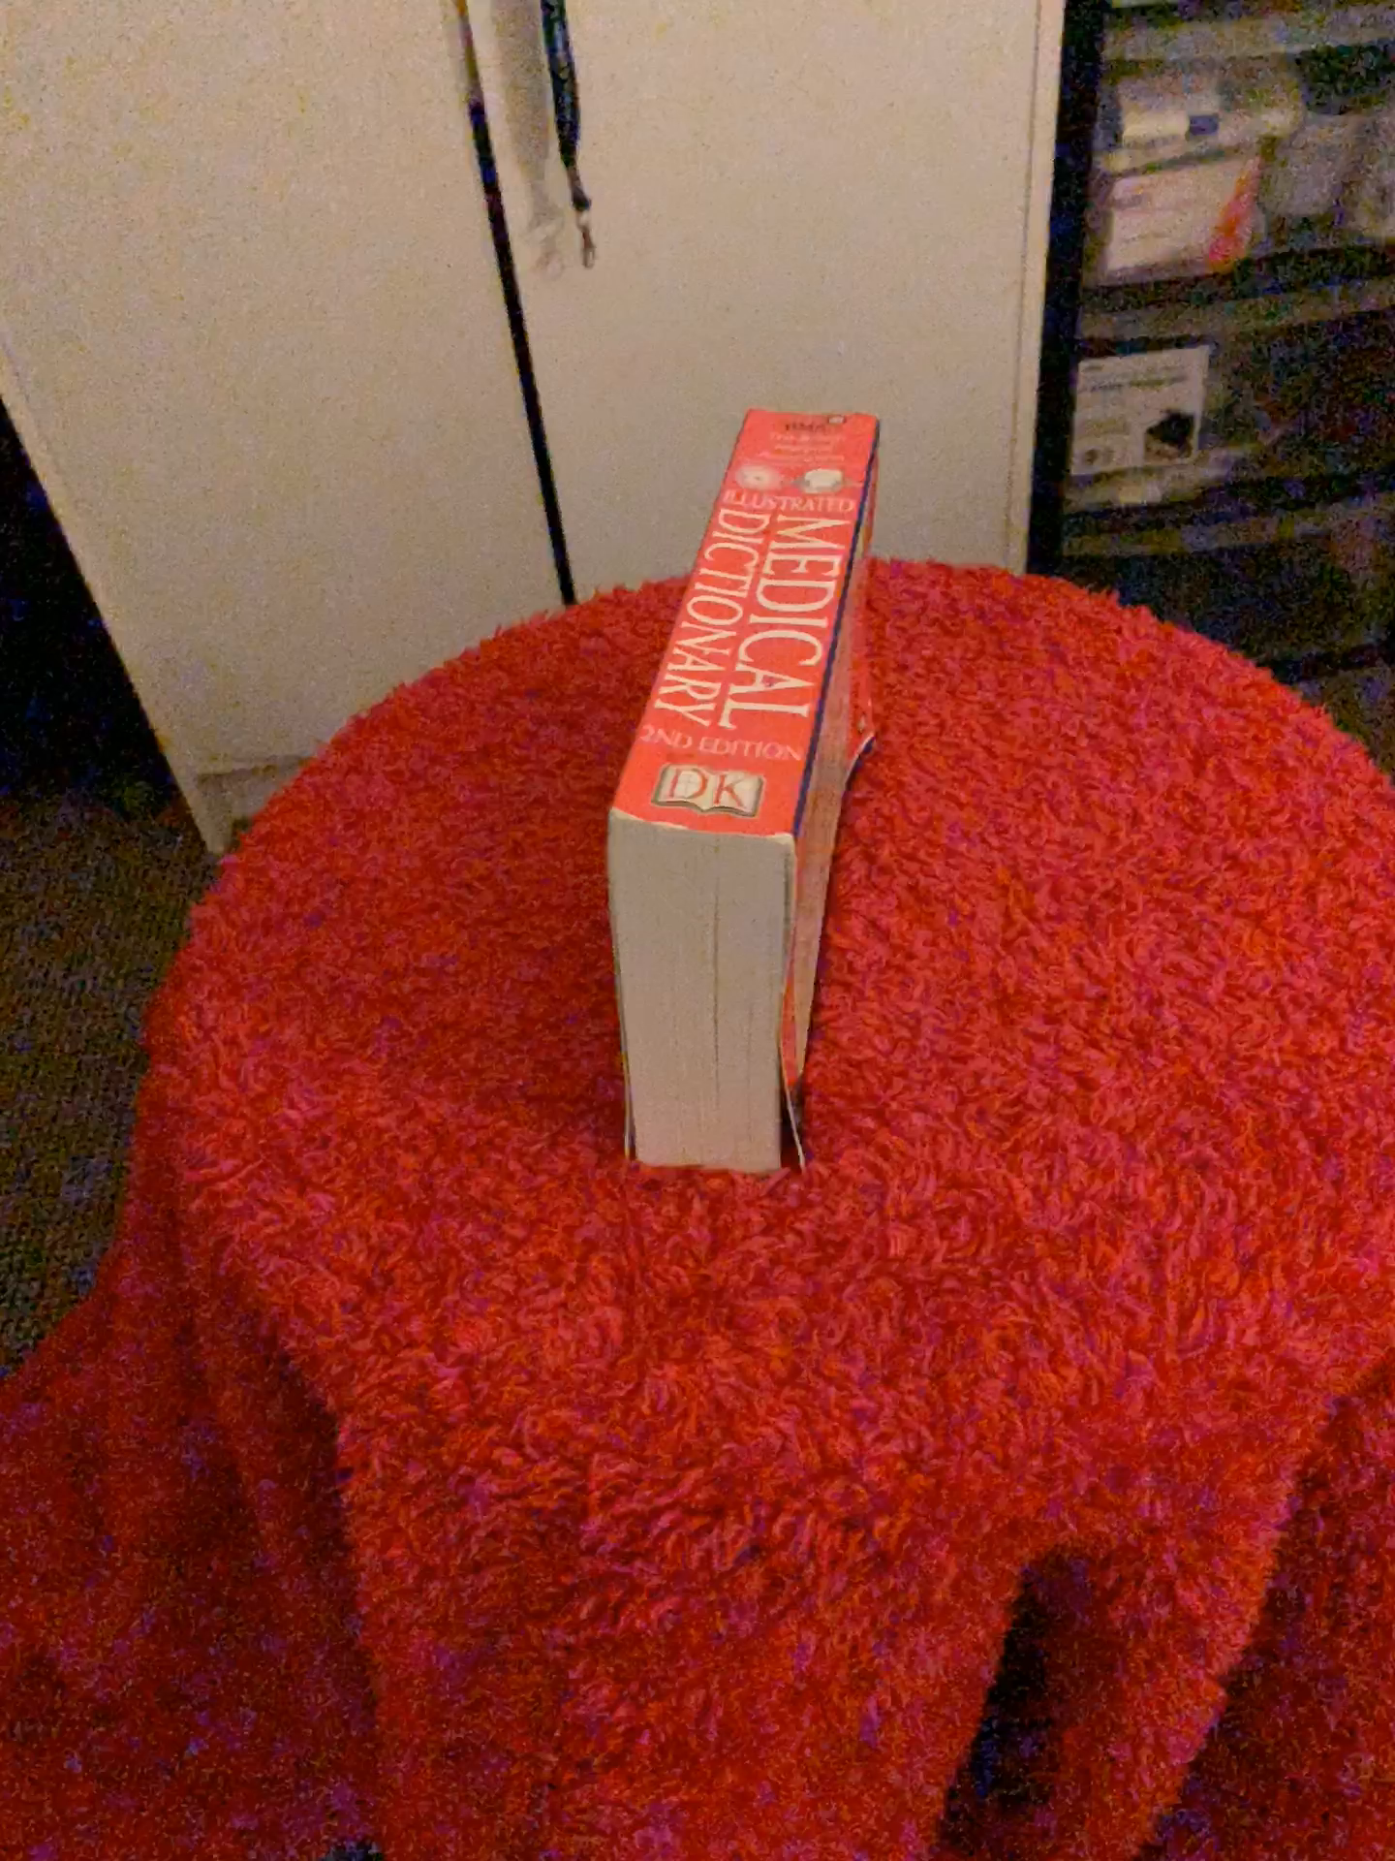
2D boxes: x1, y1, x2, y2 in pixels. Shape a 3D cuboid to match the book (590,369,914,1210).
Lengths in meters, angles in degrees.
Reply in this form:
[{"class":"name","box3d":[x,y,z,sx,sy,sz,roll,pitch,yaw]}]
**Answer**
[{"class":"book","box3d":[0.023,-0.051,0.418,0.050,0.129,0.222,7,45,8]}]
